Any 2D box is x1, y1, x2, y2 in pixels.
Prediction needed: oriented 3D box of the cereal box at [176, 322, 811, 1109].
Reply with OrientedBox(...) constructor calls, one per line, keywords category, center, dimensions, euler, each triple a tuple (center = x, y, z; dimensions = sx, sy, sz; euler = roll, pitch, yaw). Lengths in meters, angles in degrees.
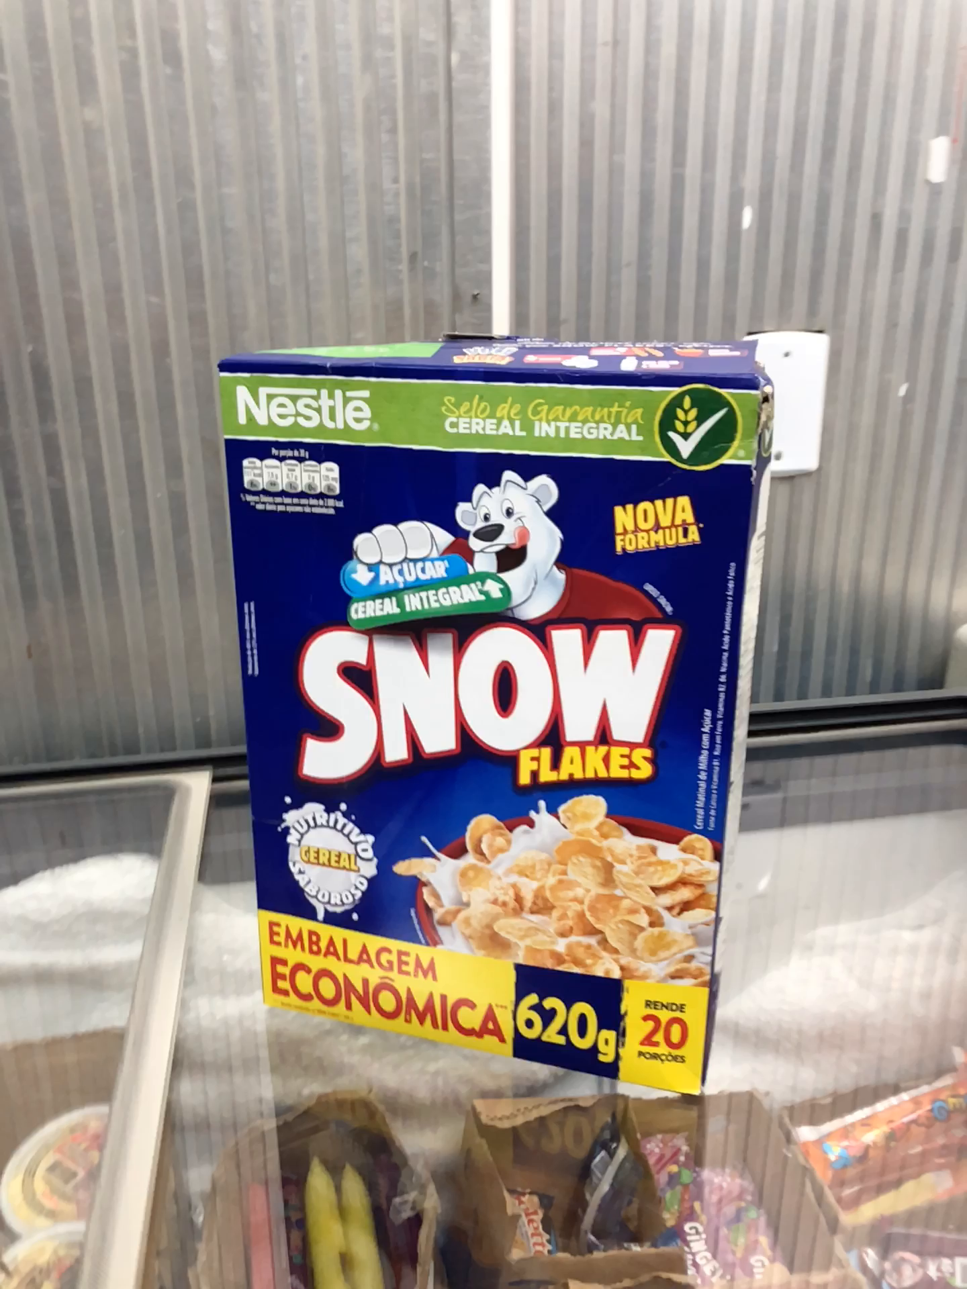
OrientedBox(category="cereal box", center=(0.005, 0.027, 0.457), dimensions=(0.230, 0.308, 0.070), euler=(6, 21, 16))
